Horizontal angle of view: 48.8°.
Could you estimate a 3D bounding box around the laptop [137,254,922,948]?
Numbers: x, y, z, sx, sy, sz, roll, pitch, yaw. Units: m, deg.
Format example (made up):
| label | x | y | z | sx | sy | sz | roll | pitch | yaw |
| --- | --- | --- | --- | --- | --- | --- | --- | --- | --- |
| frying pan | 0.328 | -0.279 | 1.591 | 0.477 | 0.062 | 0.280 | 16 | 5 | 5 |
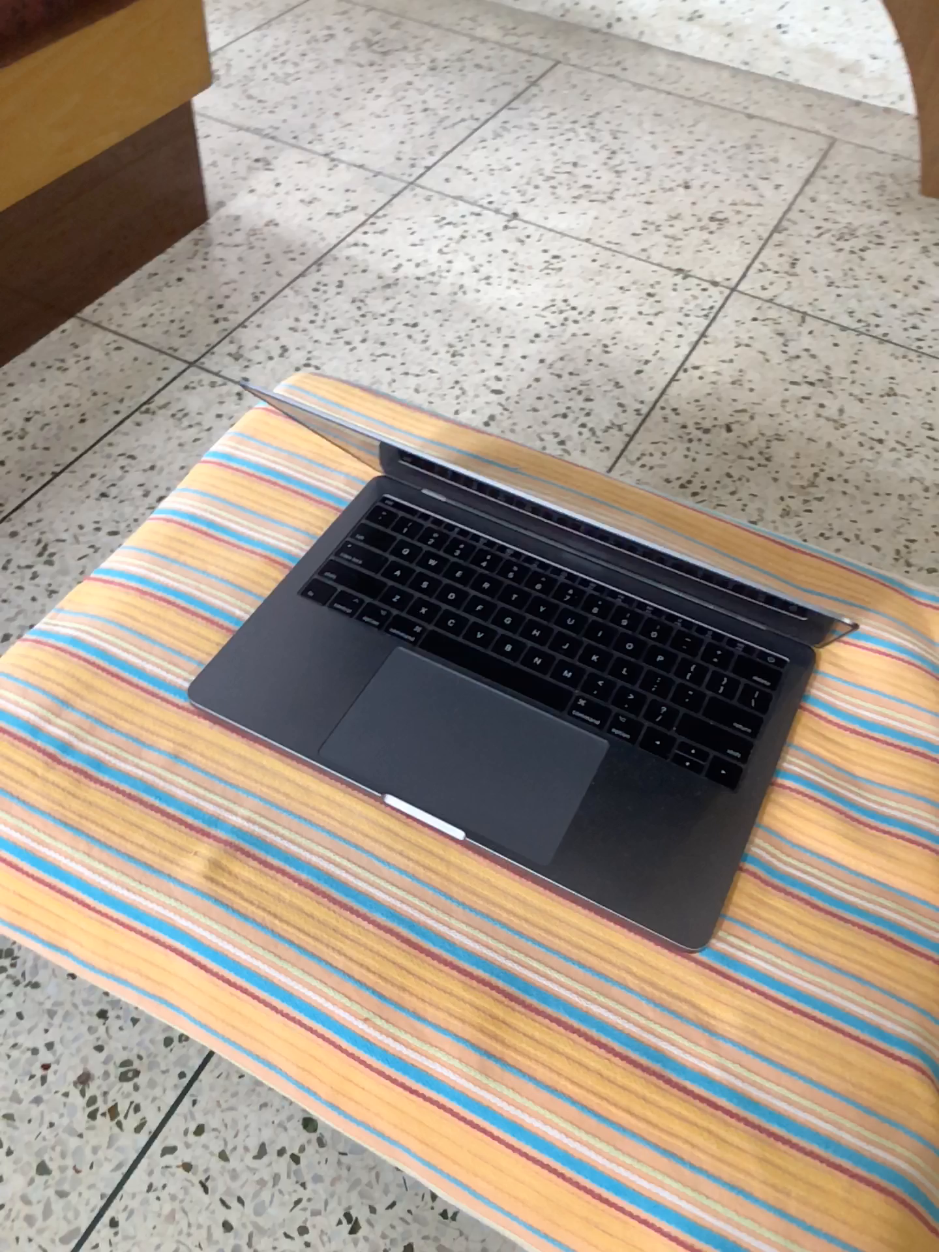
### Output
| label | x | y | z | sx | sy | sz | roll | pitch | yaw |
| --- | --- | --- | --- | --- | --- | --- | --- | --- | --- |
| laptop | 0.031 | -0.025 | 0.522 | 0.295 | 0.159 | 0.204 | 23 | 53 | 15 |
